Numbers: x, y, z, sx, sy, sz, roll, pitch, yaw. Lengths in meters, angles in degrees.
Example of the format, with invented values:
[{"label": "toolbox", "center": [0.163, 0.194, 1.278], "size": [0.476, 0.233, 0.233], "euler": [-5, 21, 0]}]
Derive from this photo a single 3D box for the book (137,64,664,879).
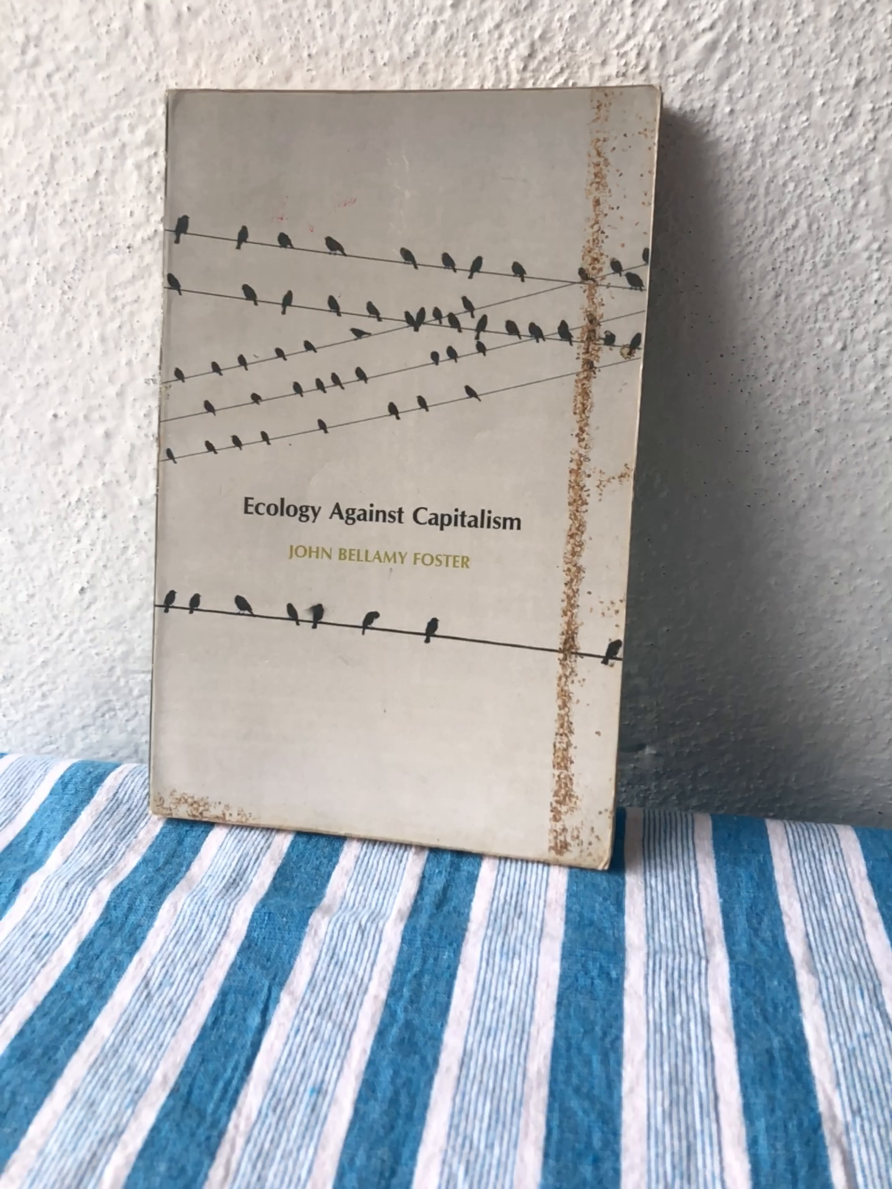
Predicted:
[{"label": "book", "center": [-0.014, -0.035, 0.286], "size": [0.140, 0.210, 0.030], "euler": [3, 2, 13]}]
